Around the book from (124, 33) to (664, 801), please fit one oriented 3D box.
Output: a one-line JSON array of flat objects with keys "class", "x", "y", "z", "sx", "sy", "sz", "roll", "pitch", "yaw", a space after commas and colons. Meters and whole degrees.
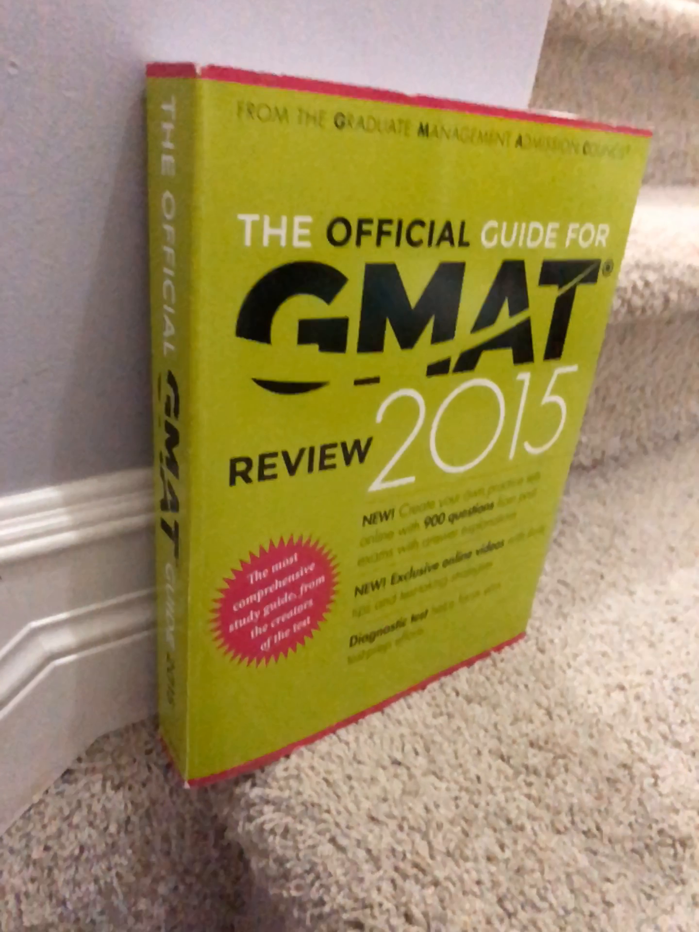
[{"class": "book", "x": 0.026, "y": -0.020, "z": 0.348, "sx": 0.236, "sy": 0.277, "sz": 0.040, "roll": -13, "pitch": 29, "yaw": -36}]
